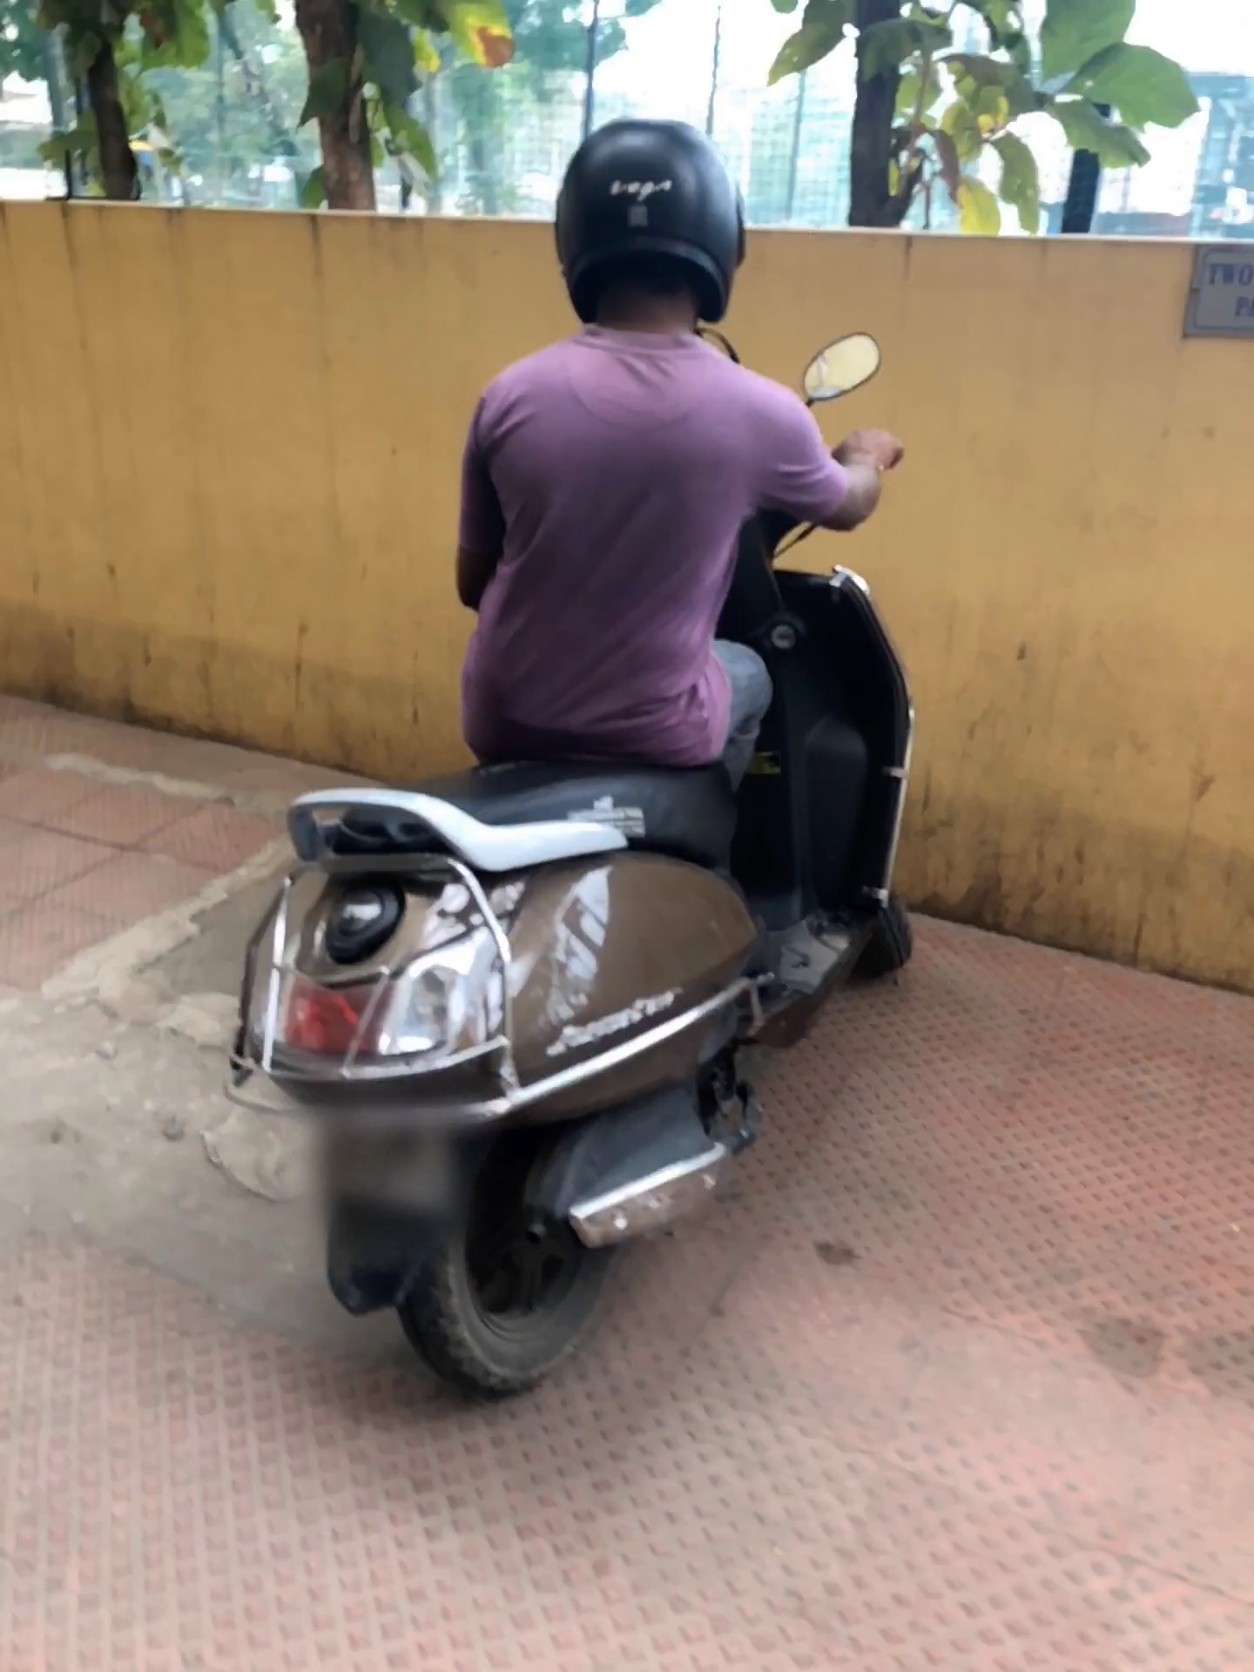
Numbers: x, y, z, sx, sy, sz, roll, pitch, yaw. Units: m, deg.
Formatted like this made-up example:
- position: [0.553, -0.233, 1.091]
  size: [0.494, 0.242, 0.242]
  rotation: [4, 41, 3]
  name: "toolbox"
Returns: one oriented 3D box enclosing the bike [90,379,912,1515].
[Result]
- position: [-0.031, -0.073, 2.359]
  size: [0.644, 1.183, 1.721]
  rotation: [10, 25, 18]
  name: "bike"
